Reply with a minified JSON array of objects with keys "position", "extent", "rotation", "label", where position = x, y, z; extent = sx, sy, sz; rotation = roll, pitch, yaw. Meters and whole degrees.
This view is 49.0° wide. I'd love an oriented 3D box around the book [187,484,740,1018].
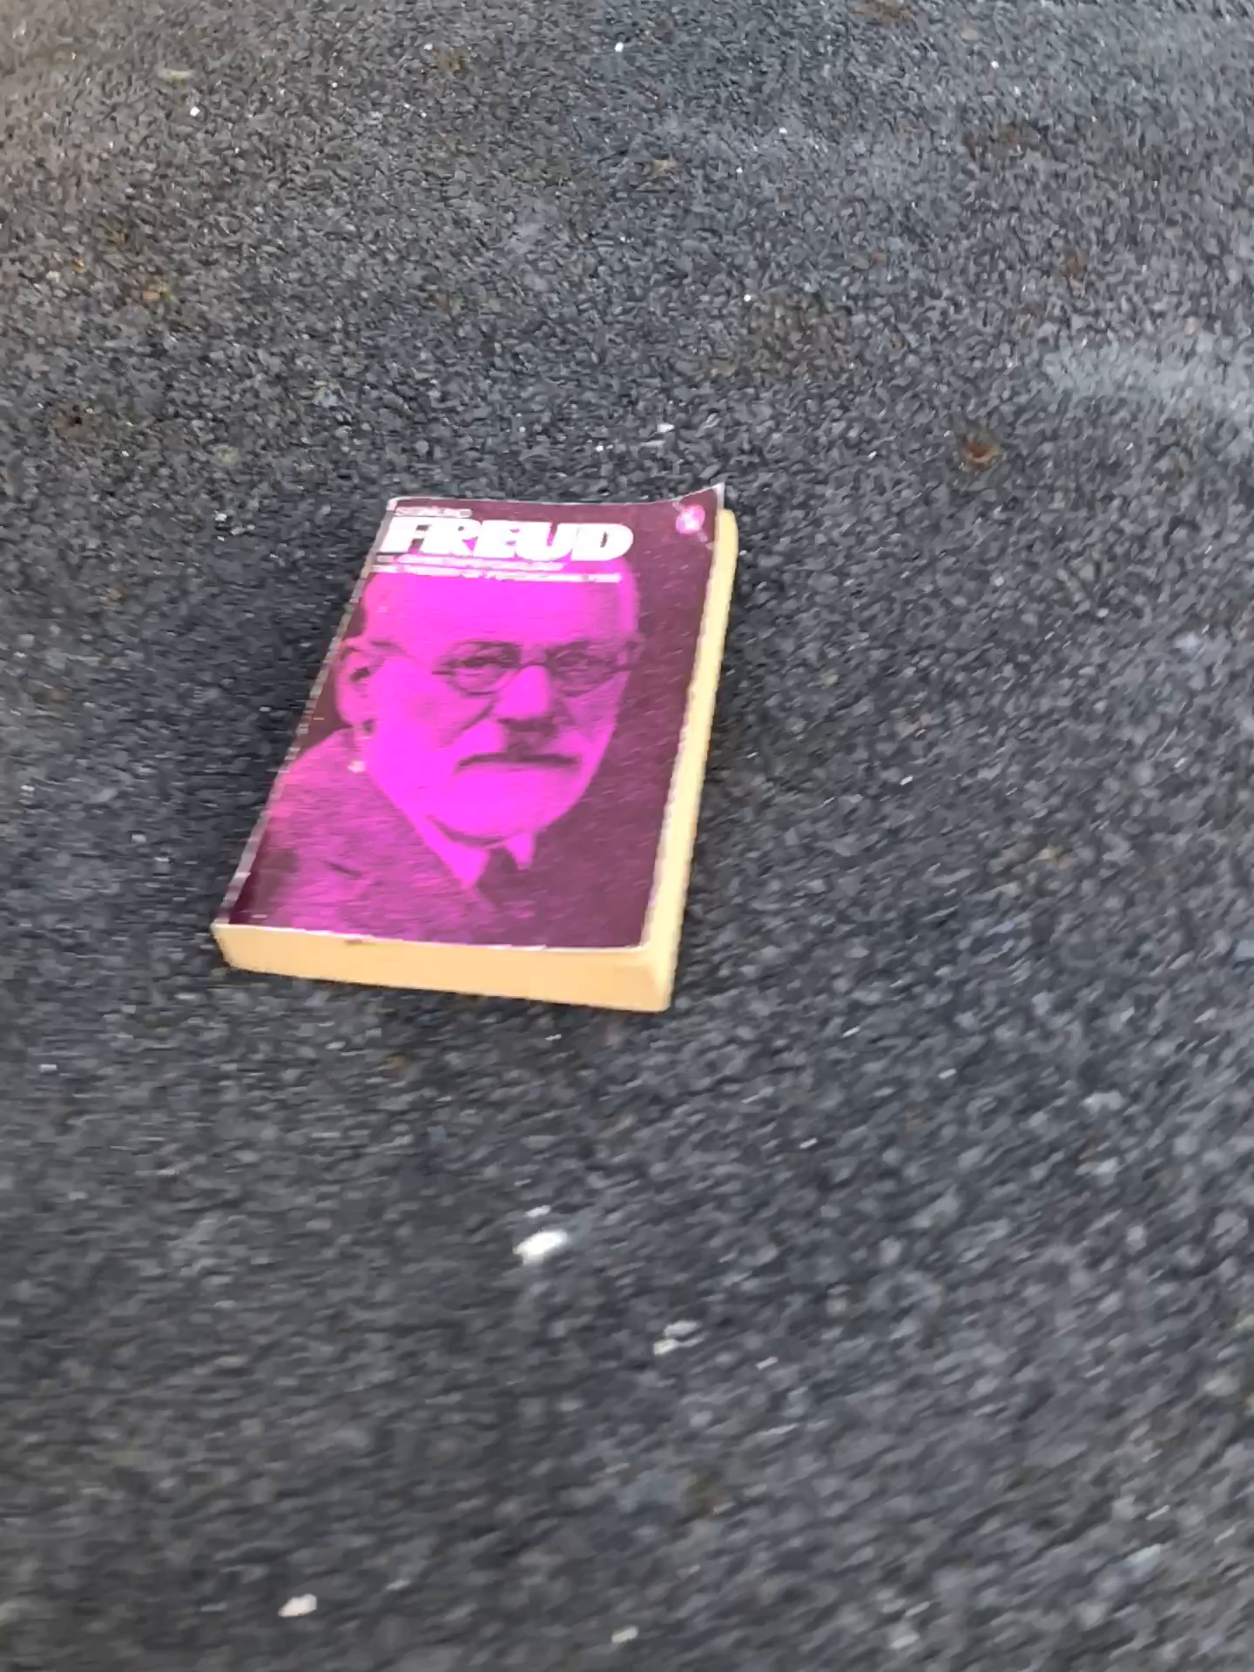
[{"position":[-0.041,-0.039,0.444],"extent":[0.131,0.031,0.195],"rotation":[4,51,10],"label":"book"}]
